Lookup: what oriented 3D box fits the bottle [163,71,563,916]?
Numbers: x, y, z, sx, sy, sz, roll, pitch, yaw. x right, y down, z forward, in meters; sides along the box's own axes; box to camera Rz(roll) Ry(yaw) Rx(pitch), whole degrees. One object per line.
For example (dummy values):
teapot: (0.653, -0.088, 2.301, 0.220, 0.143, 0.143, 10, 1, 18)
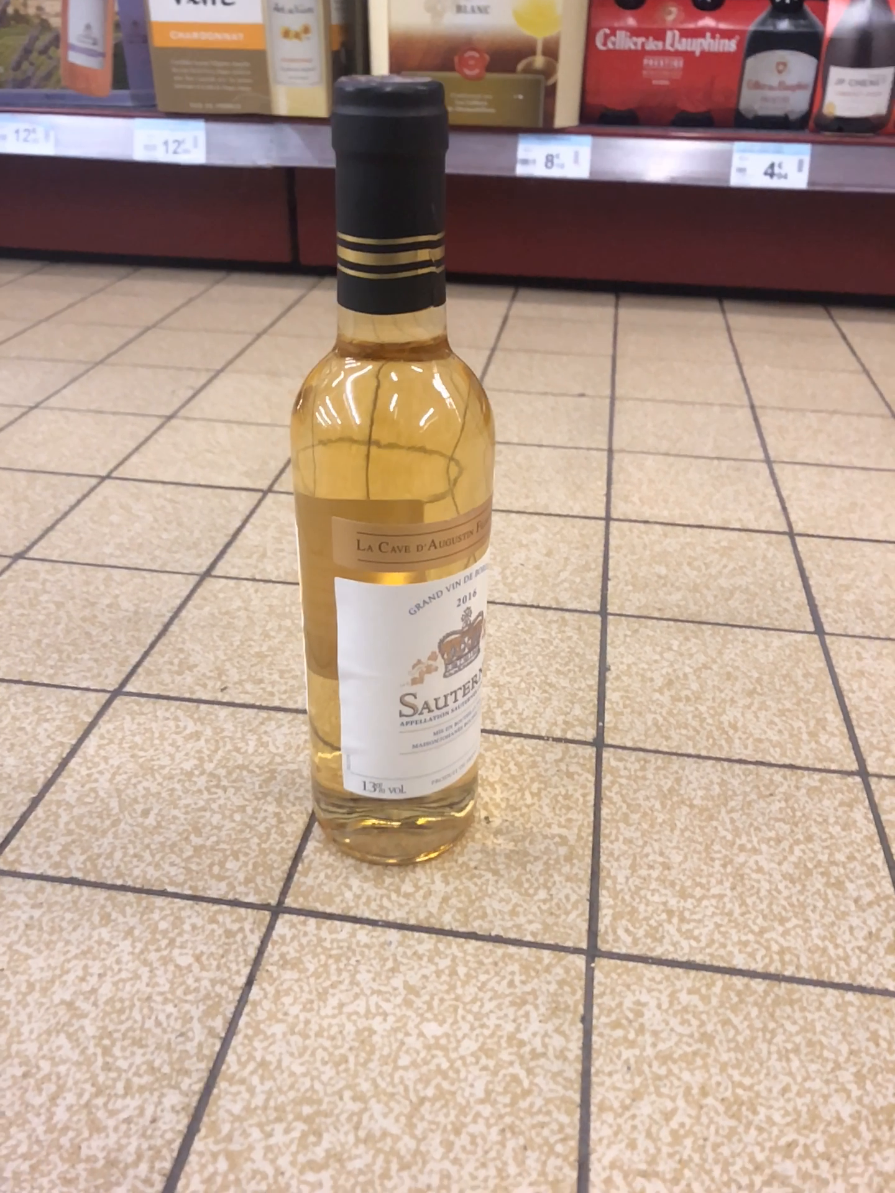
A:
bottle: (-0.021, -0.024, 0.304, 0.070, 0.239, 0.070, 1, 30, -1)
